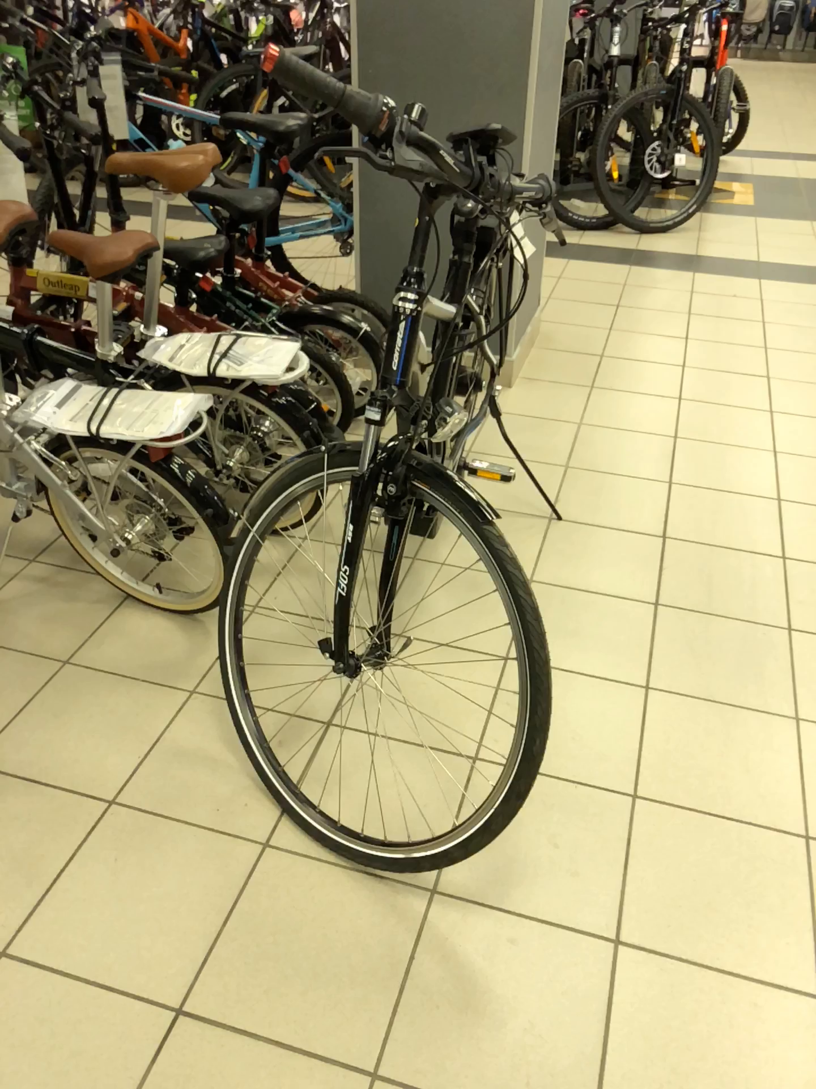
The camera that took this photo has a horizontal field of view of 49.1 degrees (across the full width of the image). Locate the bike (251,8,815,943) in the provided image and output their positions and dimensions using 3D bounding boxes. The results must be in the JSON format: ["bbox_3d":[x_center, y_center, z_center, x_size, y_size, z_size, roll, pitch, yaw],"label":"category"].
[{"bbox_3d":[0.202,-0.333,1.854,0.696,1.176,1.621,2,35,1],"label":"bike"}]
